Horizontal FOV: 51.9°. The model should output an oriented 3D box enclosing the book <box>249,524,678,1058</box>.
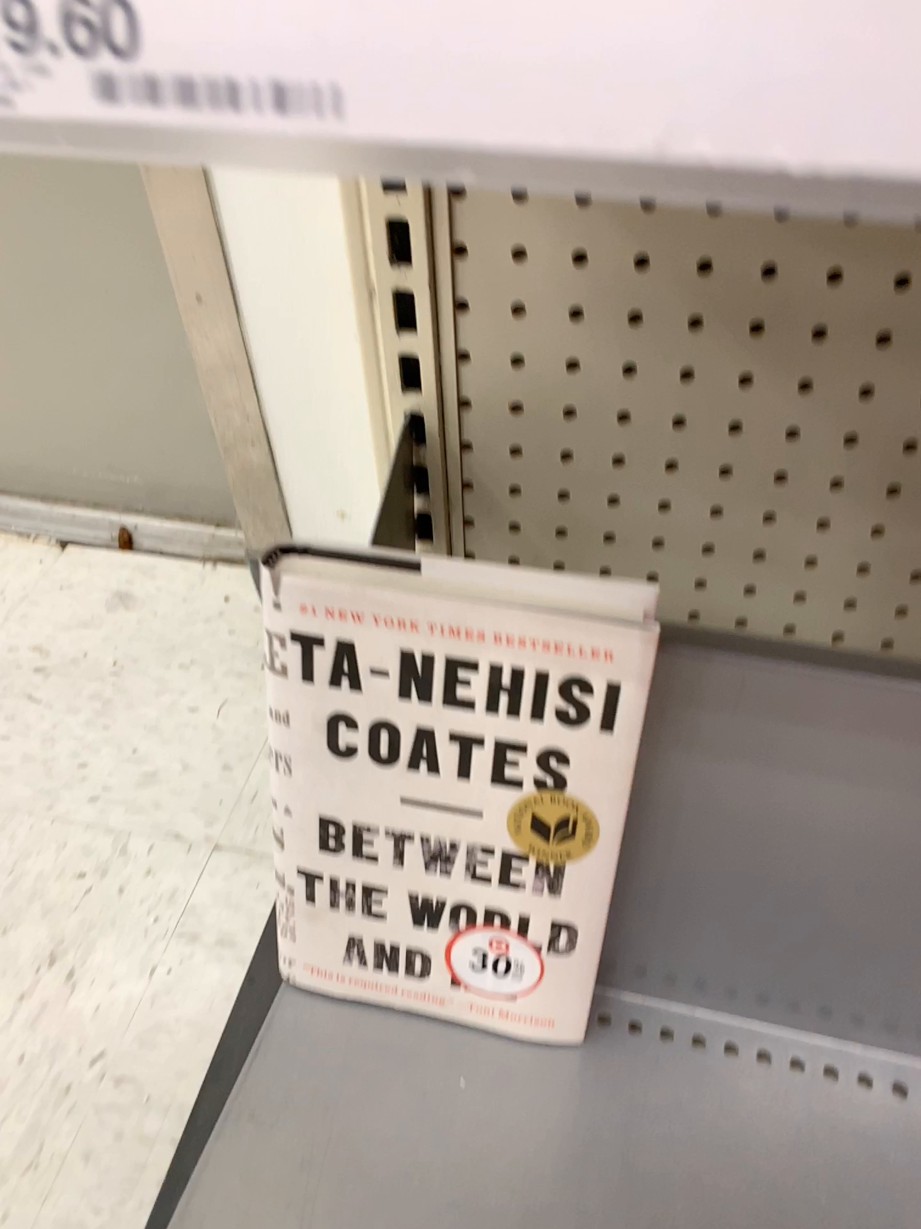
[{"bbox_3d":[-0.002,0.068,0.336,0.129,0.186,0.030,8,28,10],"label":"book"}]
